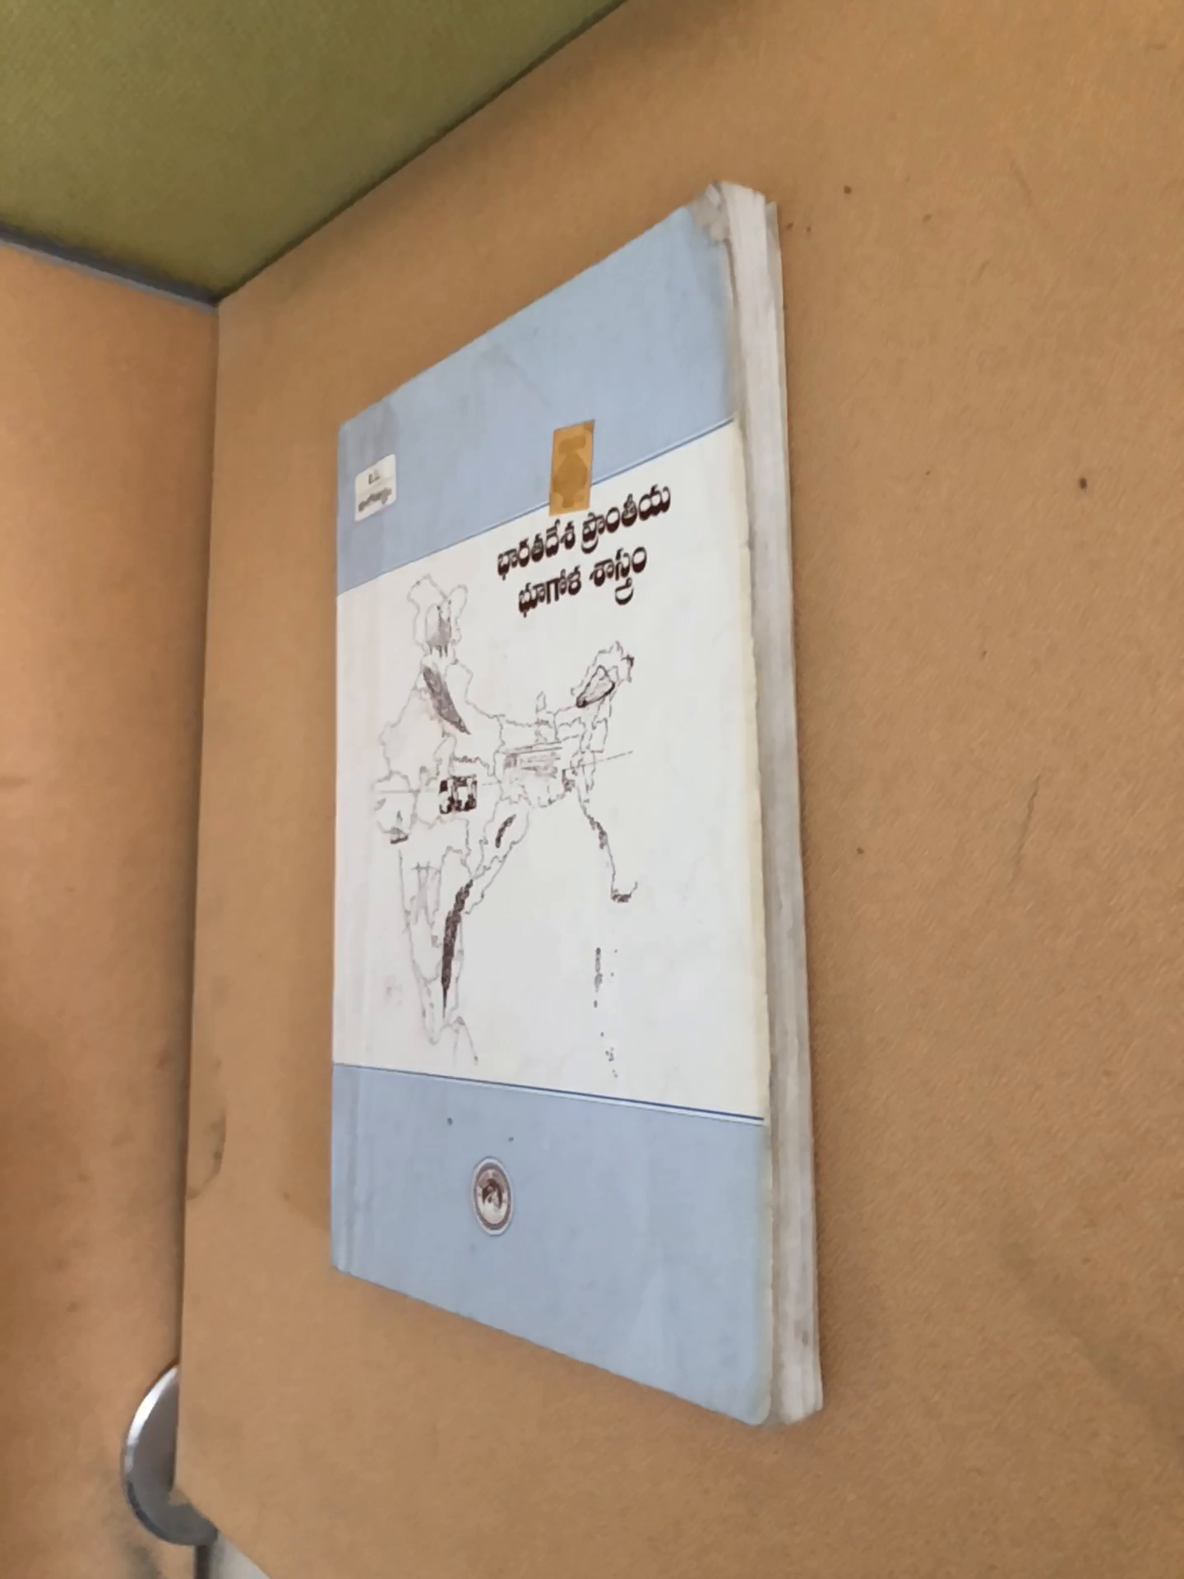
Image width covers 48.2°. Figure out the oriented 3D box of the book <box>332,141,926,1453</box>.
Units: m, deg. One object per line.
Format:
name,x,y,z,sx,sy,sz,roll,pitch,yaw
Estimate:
book,-0.006,0.004,0.330,0.181,0.030,0.250,-9,79,50
